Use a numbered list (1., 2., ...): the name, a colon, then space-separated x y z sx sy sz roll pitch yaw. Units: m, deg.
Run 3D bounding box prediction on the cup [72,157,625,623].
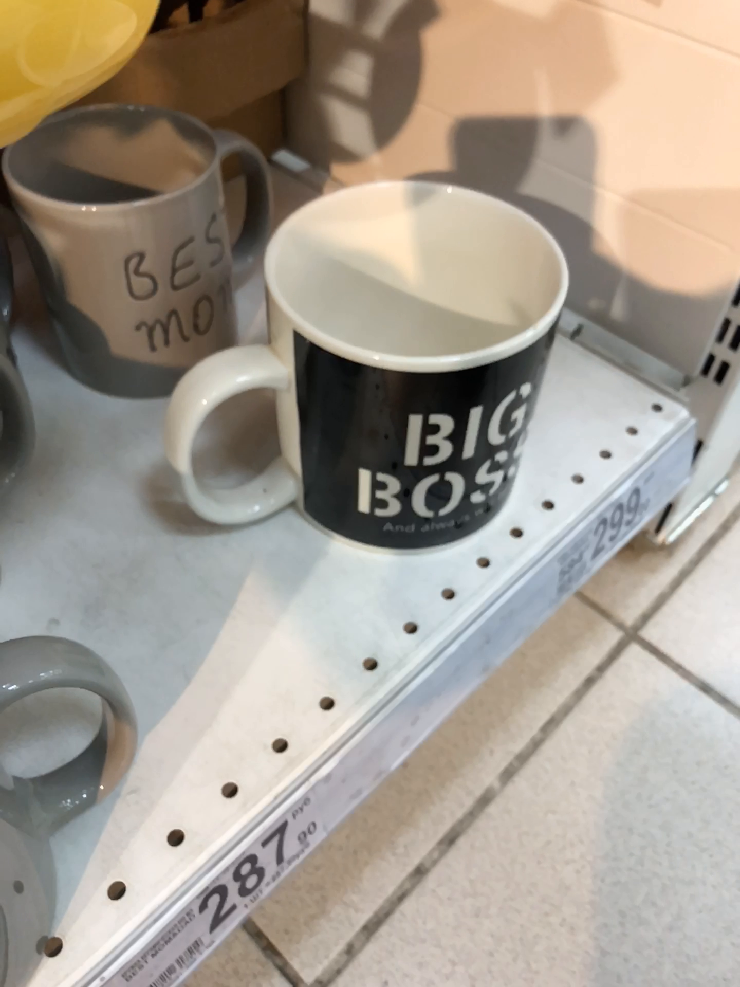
1. cup: -0.016 -0.051 0.373 0.189 0.122 0.128 -13 51 -14
